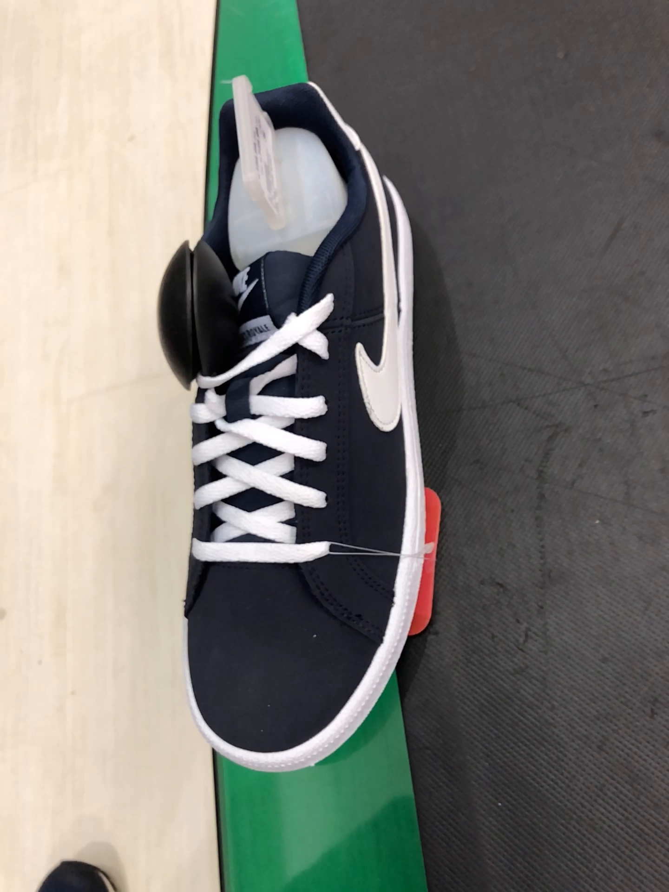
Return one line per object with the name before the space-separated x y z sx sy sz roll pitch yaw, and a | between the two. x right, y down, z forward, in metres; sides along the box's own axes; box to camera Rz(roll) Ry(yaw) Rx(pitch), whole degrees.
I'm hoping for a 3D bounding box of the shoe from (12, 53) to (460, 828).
shoe | -0.020 -0.006 0.288 0.110 0.090 0.250 -1 71 20
